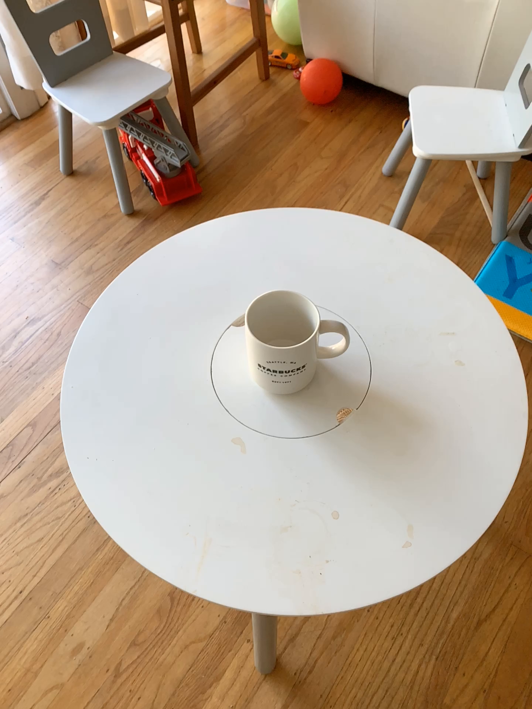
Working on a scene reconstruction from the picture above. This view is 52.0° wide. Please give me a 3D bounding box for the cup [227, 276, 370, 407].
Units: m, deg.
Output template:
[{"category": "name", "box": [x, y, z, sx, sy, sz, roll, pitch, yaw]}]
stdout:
[{"category": "cup", "box": [0.034, -0.013, 0.634, 0.140, 0.110, 0.090, -7, 58, -3]}]
